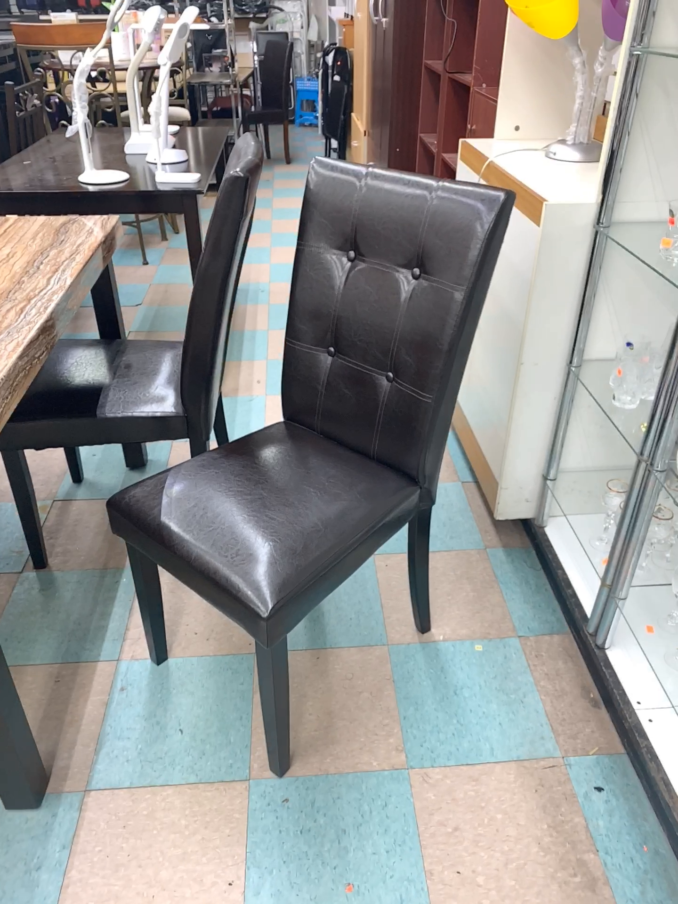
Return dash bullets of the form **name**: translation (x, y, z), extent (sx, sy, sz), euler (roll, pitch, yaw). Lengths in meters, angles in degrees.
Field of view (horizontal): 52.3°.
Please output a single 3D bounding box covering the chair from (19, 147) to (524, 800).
- **chair**: translation (-0.080, 0.010, 1.265), extent (0.470, 0.939, 0.574), euler (27, 41, 36)
